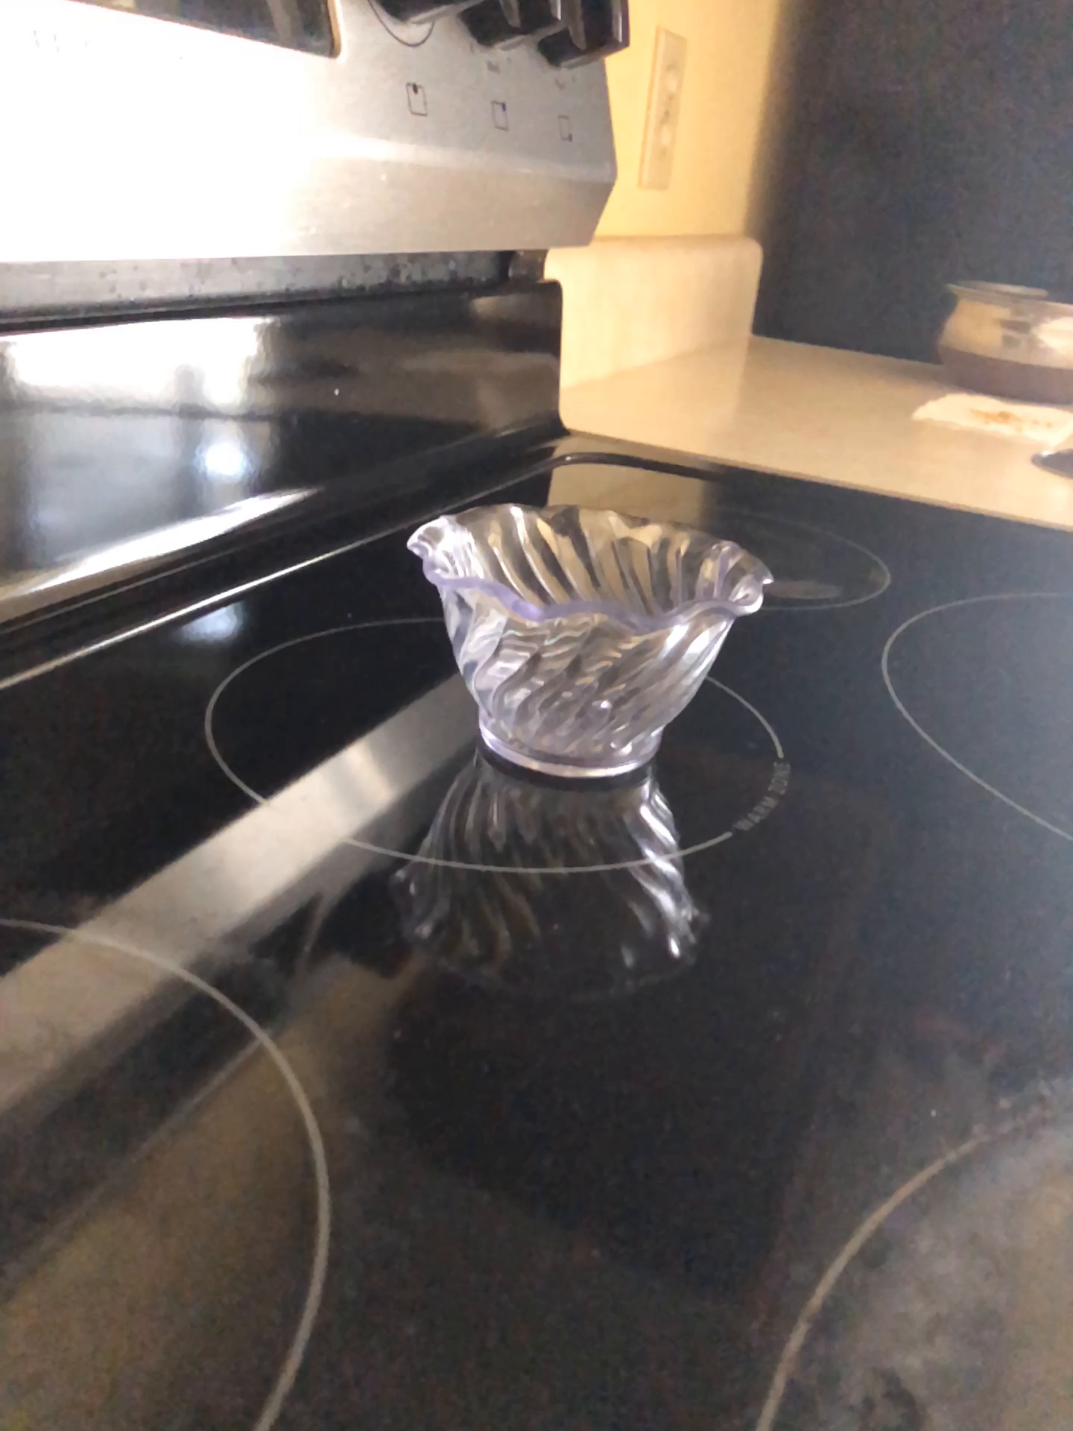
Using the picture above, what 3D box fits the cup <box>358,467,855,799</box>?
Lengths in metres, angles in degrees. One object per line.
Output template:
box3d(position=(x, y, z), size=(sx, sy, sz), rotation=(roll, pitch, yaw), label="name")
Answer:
box3d(position=(0.011, -0.028, 0.319), size=(0.100, 0.052, 0.101), rotation=(5, 24, -2), label="cup")
